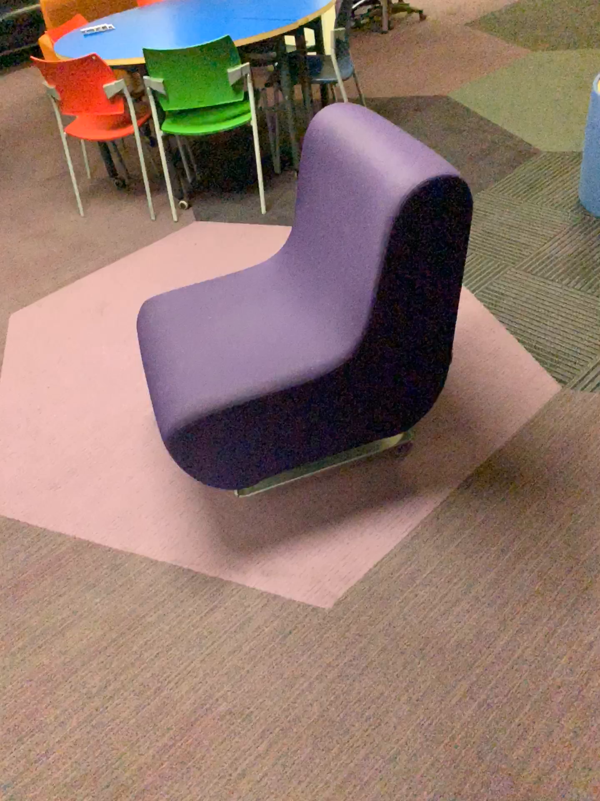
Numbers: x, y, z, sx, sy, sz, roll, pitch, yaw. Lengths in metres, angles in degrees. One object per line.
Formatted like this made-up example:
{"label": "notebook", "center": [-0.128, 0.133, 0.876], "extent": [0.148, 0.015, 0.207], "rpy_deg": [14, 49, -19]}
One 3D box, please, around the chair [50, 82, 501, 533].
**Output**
{"label": "chair", "center": [-0.097, -0.294, 1.558], "extent": [0.820, 0.614, 0.807], "rpy_deg": [-19, 42, -8]}
